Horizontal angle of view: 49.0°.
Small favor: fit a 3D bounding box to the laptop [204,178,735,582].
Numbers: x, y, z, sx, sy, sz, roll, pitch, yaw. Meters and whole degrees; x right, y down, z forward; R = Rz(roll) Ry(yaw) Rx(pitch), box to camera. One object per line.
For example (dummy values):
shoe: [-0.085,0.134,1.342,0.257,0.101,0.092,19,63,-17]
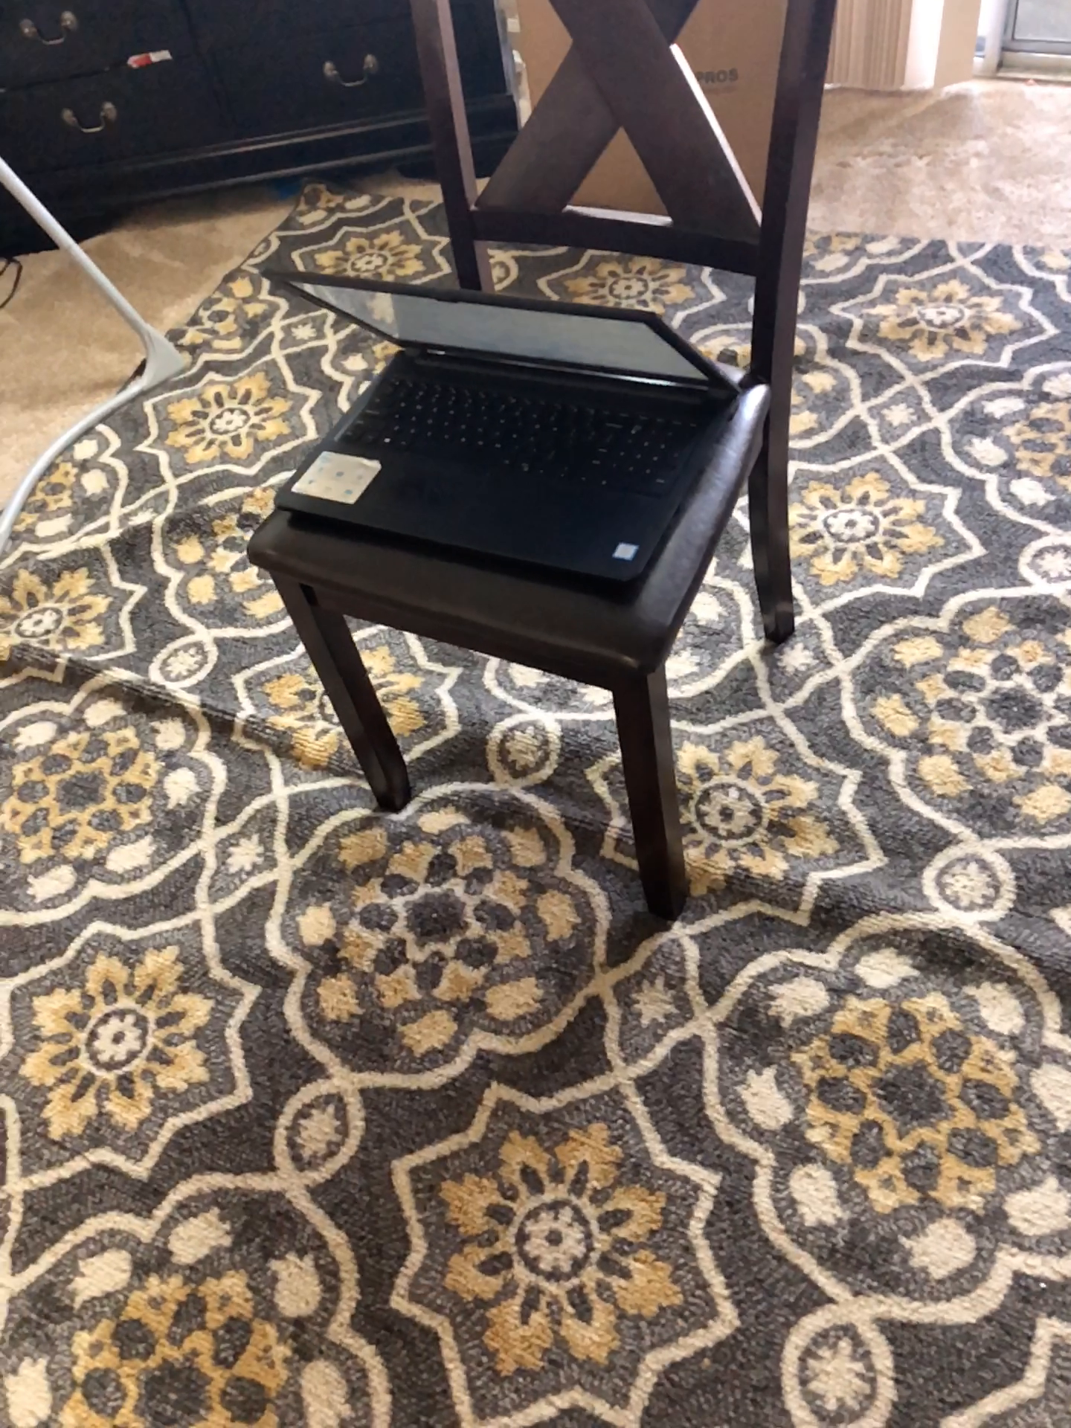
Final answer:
laptop: [-0.041,-0.301,1.024,0.366,0.185,0.245,15,55,21]
